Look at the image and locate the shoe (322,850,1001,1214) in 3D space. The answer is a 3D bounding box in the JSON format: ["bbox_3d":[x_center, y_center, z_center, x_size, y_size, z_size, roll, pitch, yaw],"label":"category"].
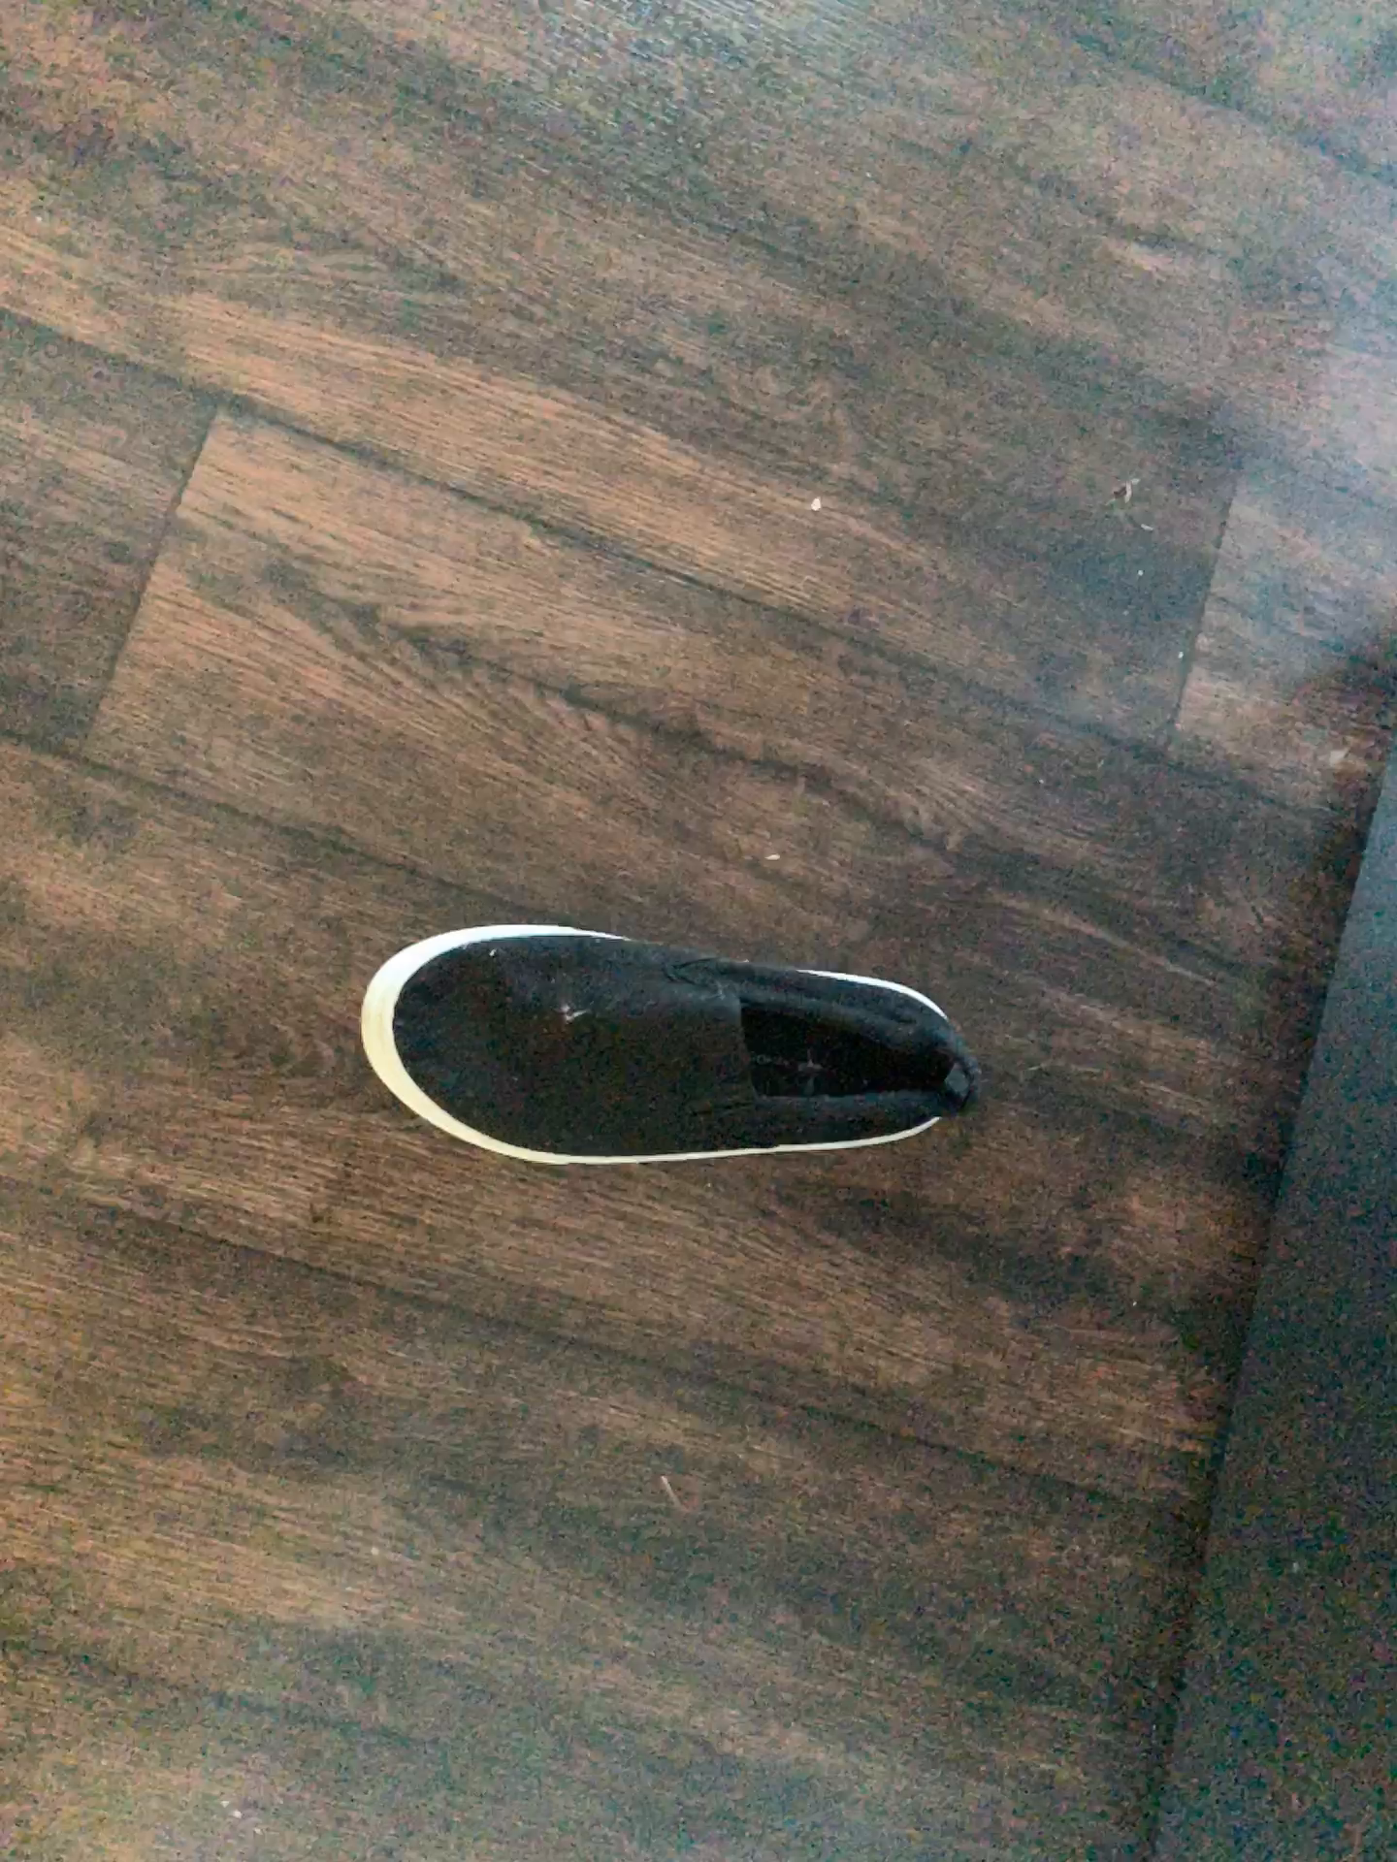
[{"bbox_3d":[-0.015,0.042,0.556,0.238,0.080,0.100,9,83,-10],"label":"shoe"}]
